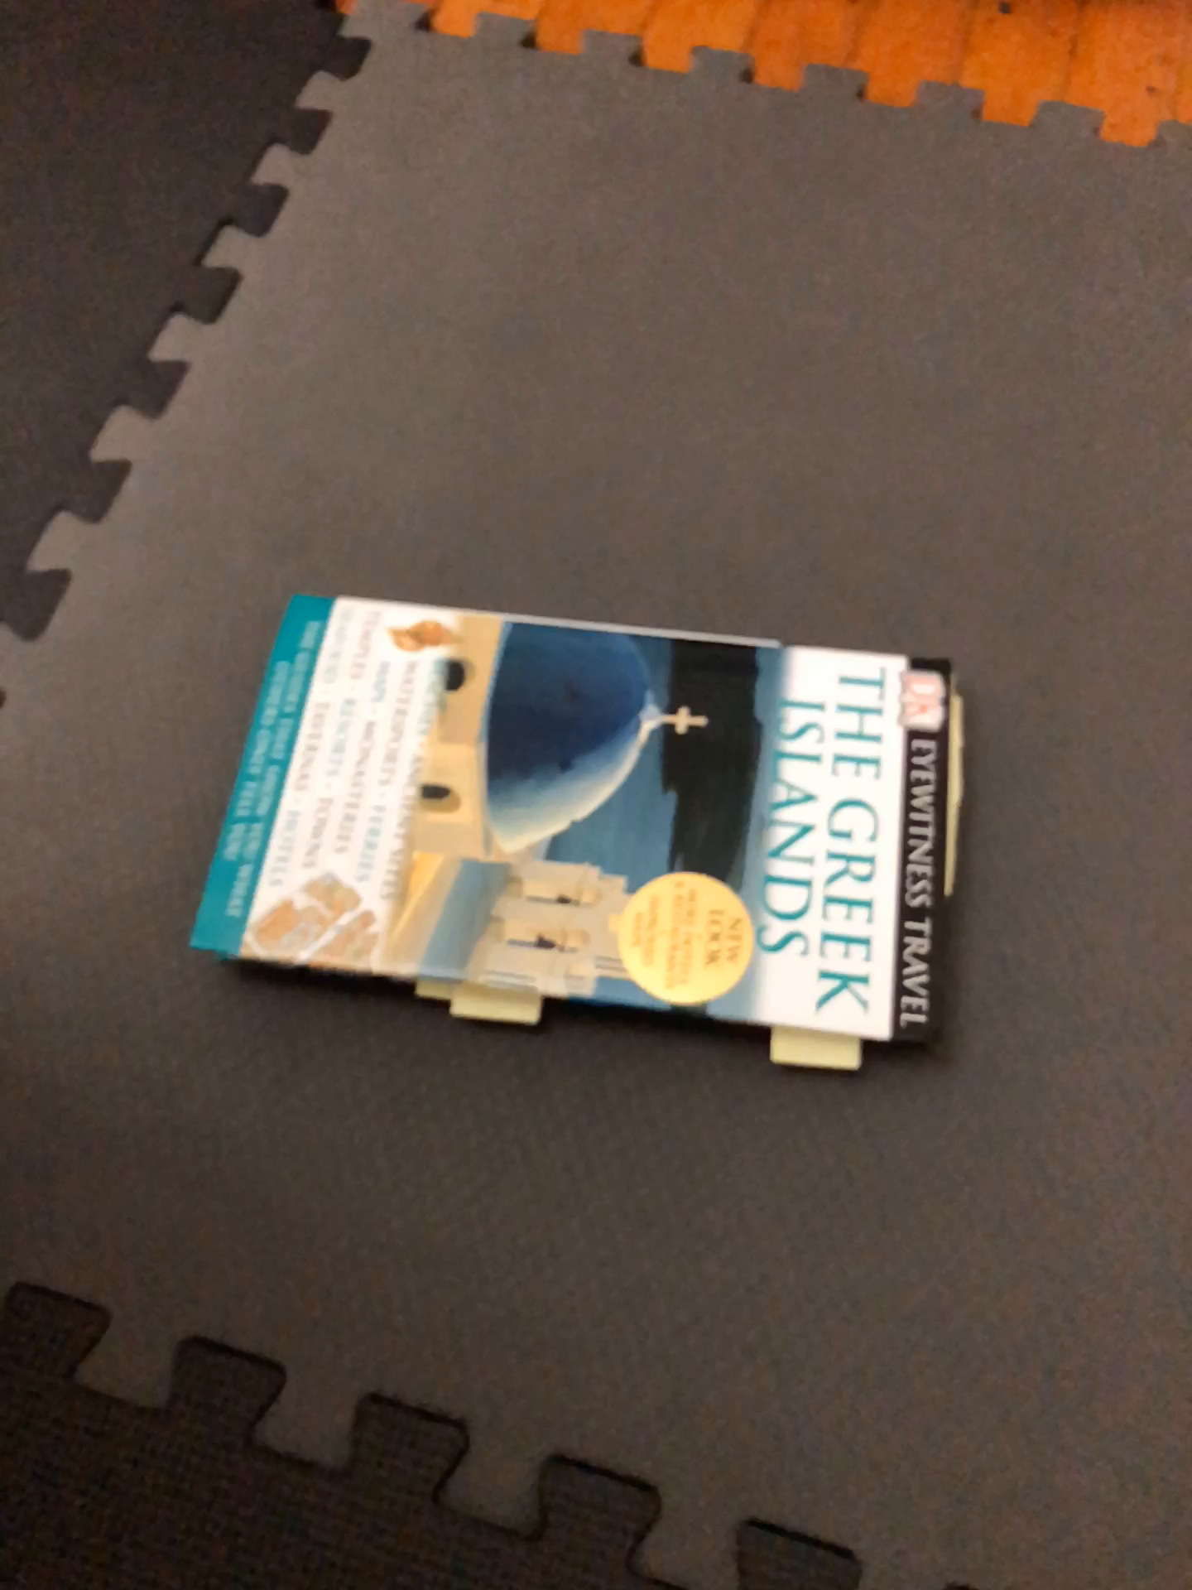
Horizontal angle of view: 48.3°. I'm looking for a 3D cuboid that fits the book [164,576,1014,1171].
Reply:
[{"bbox_3d":[0.006,0.017,0.423,0.240,0.030,0.160,7,63,5],"label":"book"}]
